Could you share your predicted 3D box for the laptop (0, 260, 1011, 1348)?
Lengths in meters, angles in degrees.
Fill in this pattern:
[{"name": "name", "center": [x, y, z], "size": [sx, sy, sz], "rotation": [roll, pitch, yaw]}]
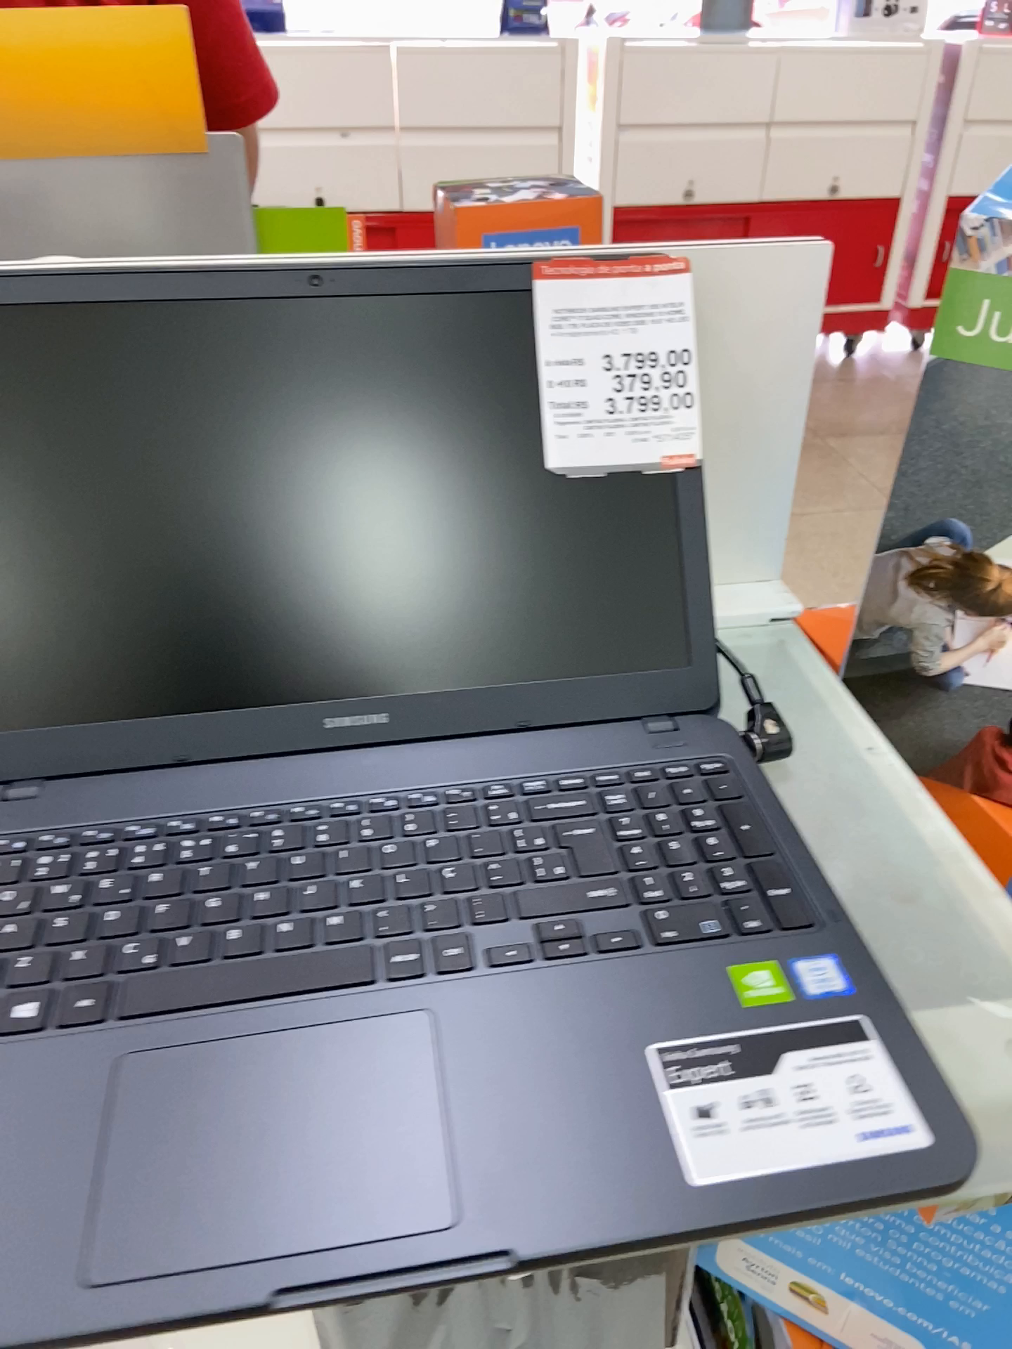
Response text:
[{"name": "laptop", "center": [-0.063, -0.012, 0.400], "size": [0.371, 0.192, 0.371], "rotation": [-5, 33, -7]}]
